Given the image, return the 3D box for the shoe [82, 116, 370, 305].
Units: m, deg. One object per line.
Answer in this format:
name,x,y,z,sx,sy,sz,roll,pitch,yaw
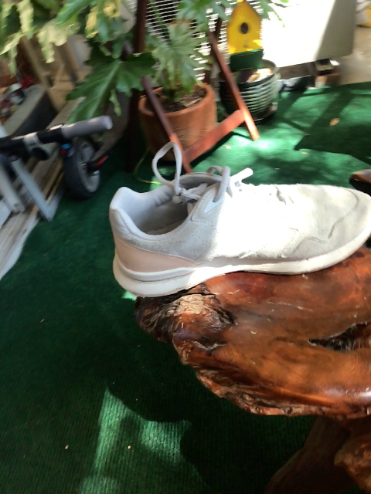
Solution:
shoe,0.050,-0.033,0.389,0.263,0.091,0.103,-11,42,7
